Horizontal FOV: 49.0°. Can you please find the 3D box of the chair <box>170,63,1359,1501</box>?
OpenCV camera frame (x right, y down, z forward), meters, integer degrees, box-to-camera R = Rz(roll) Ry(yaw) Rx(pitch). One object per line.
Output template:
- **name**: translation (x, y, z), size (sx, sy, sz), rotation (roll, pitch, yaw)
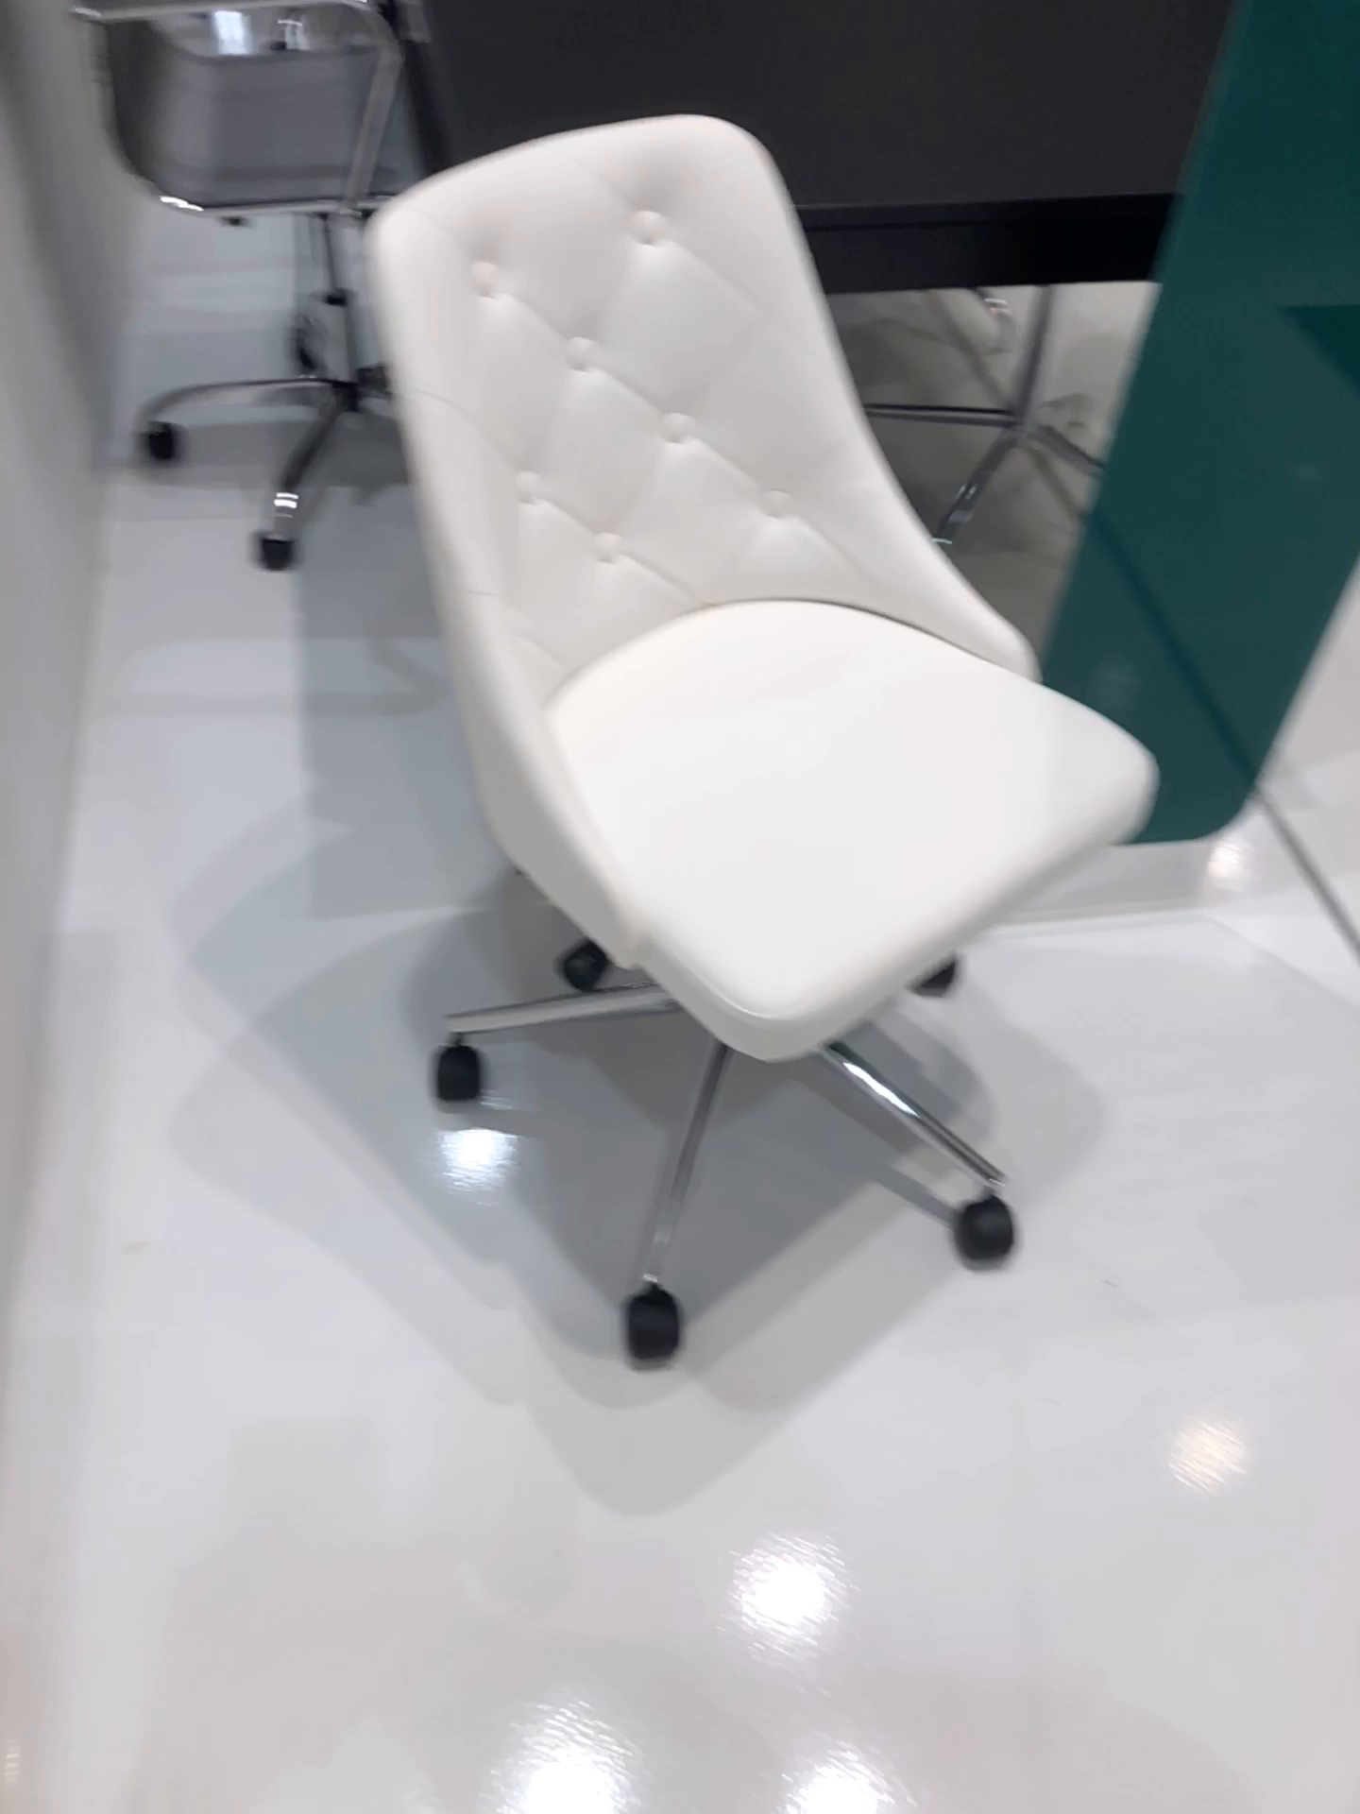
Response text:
- **chair**: translation (0.076, -0.104, 1.271), size (0.602, 0.854, 0.642), rotation (-29, 55, -28)
